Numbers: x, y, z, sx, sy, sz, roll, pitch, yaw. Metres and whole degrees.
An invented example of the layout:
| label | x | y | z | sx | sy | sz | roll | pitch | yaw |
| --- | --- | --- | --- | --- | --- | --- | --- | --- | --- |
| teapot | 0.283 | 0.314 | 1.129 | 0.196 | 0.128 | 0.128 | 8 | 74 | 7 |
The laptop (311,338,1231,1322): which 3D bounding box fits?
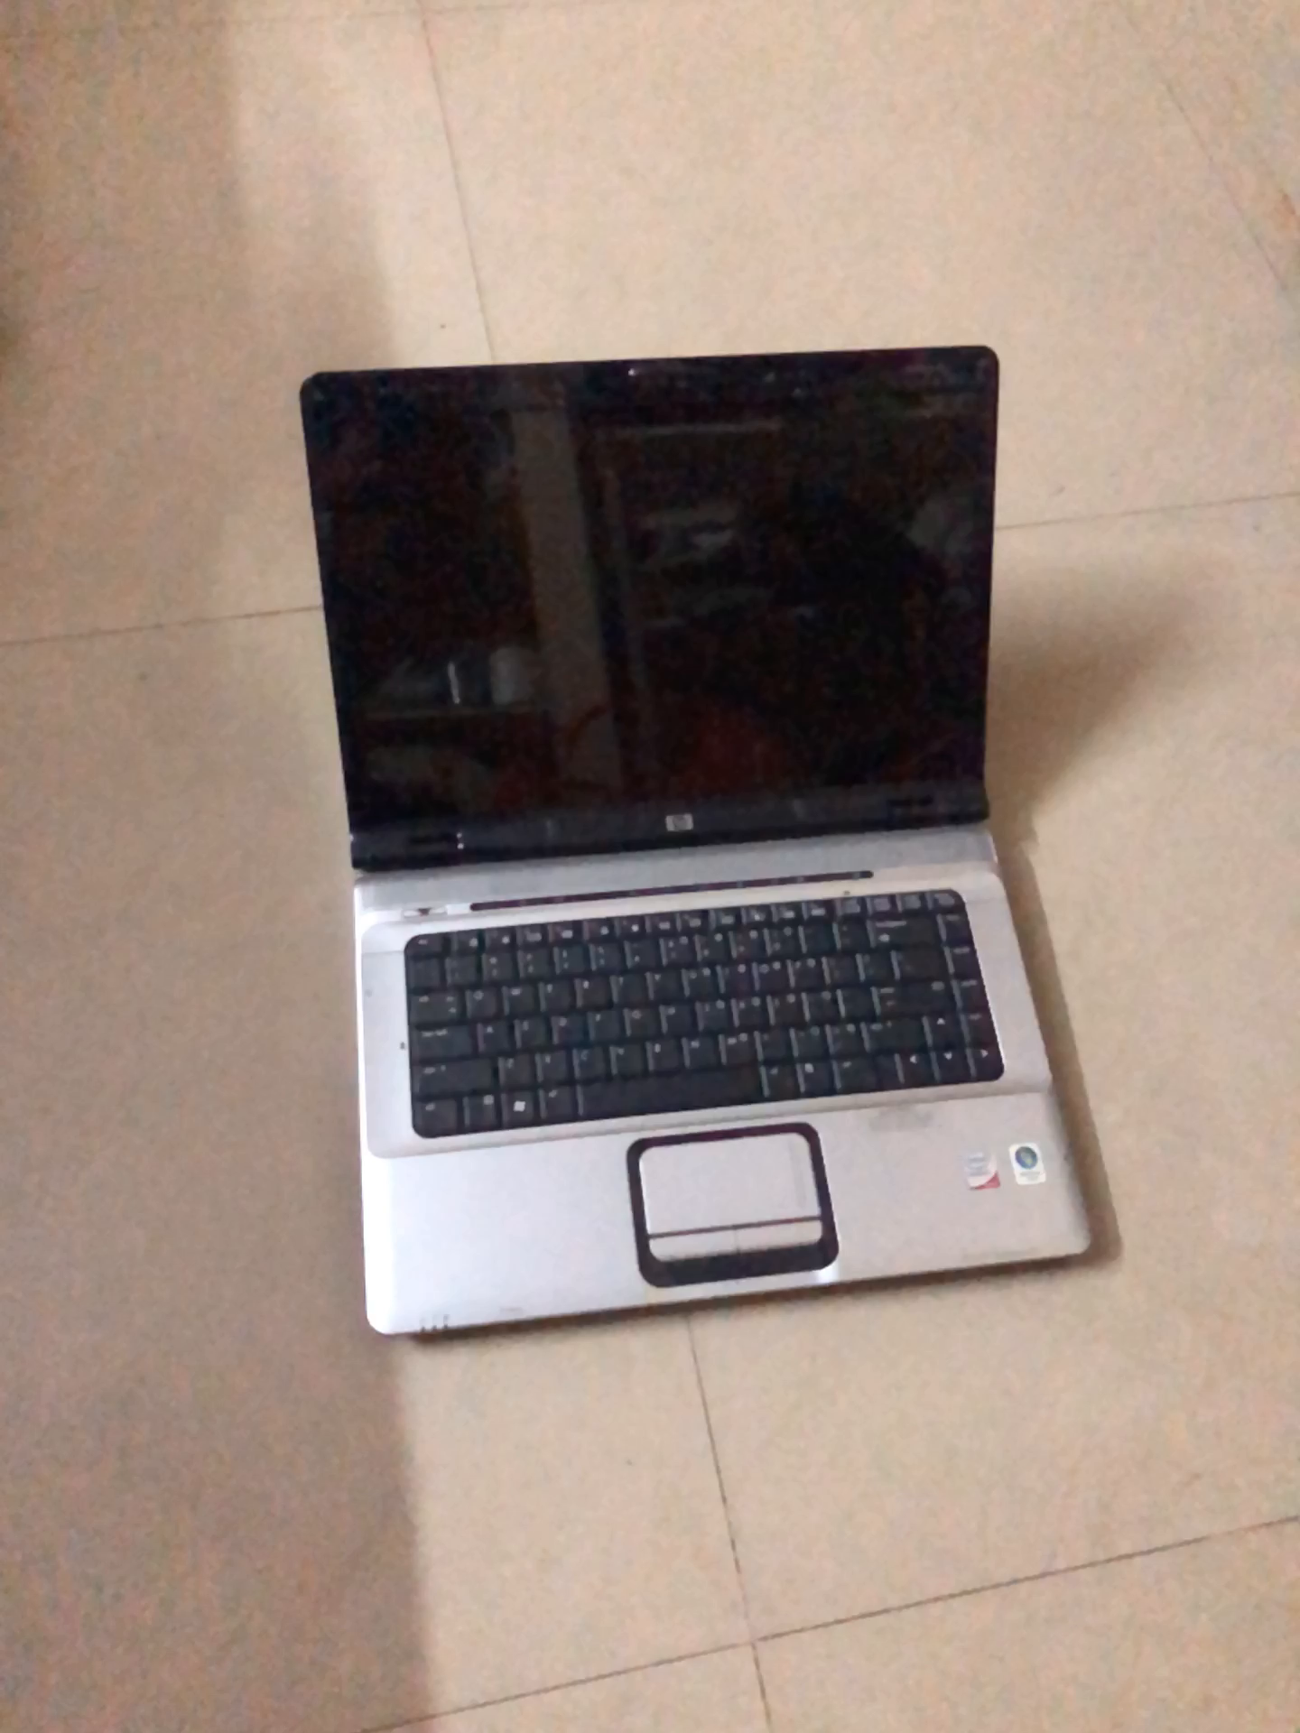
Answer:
| label | x | y | z | sx | sy | sz | roll | pitch | yaw |
| --- | --- | --- | --- | --- | --- | --- | --- | --- | --- |
| laptop | 0.025 | -0.029 | 0.683 | 0.338 | 0.167 | 0.410 | -4 | 65 | -7 |
